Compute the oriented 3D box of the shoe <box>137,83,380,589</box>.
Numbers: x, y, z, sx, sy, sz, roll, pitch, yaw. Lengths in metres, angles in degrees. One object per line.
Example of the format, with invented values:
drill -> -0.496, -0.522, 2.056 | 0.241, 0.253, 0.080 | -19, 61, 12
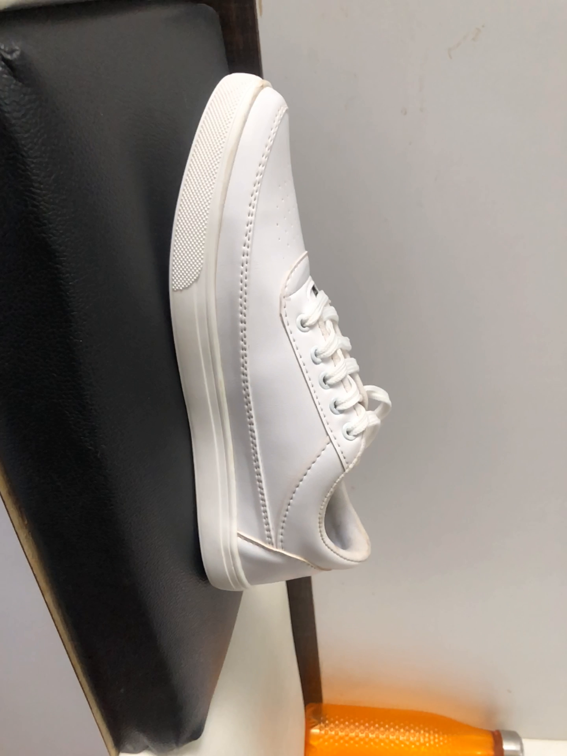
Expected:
shoe -> 0.005, -0.025, 0.406 | 0.130, 0.110, 0.290 | -72, 159, -64
